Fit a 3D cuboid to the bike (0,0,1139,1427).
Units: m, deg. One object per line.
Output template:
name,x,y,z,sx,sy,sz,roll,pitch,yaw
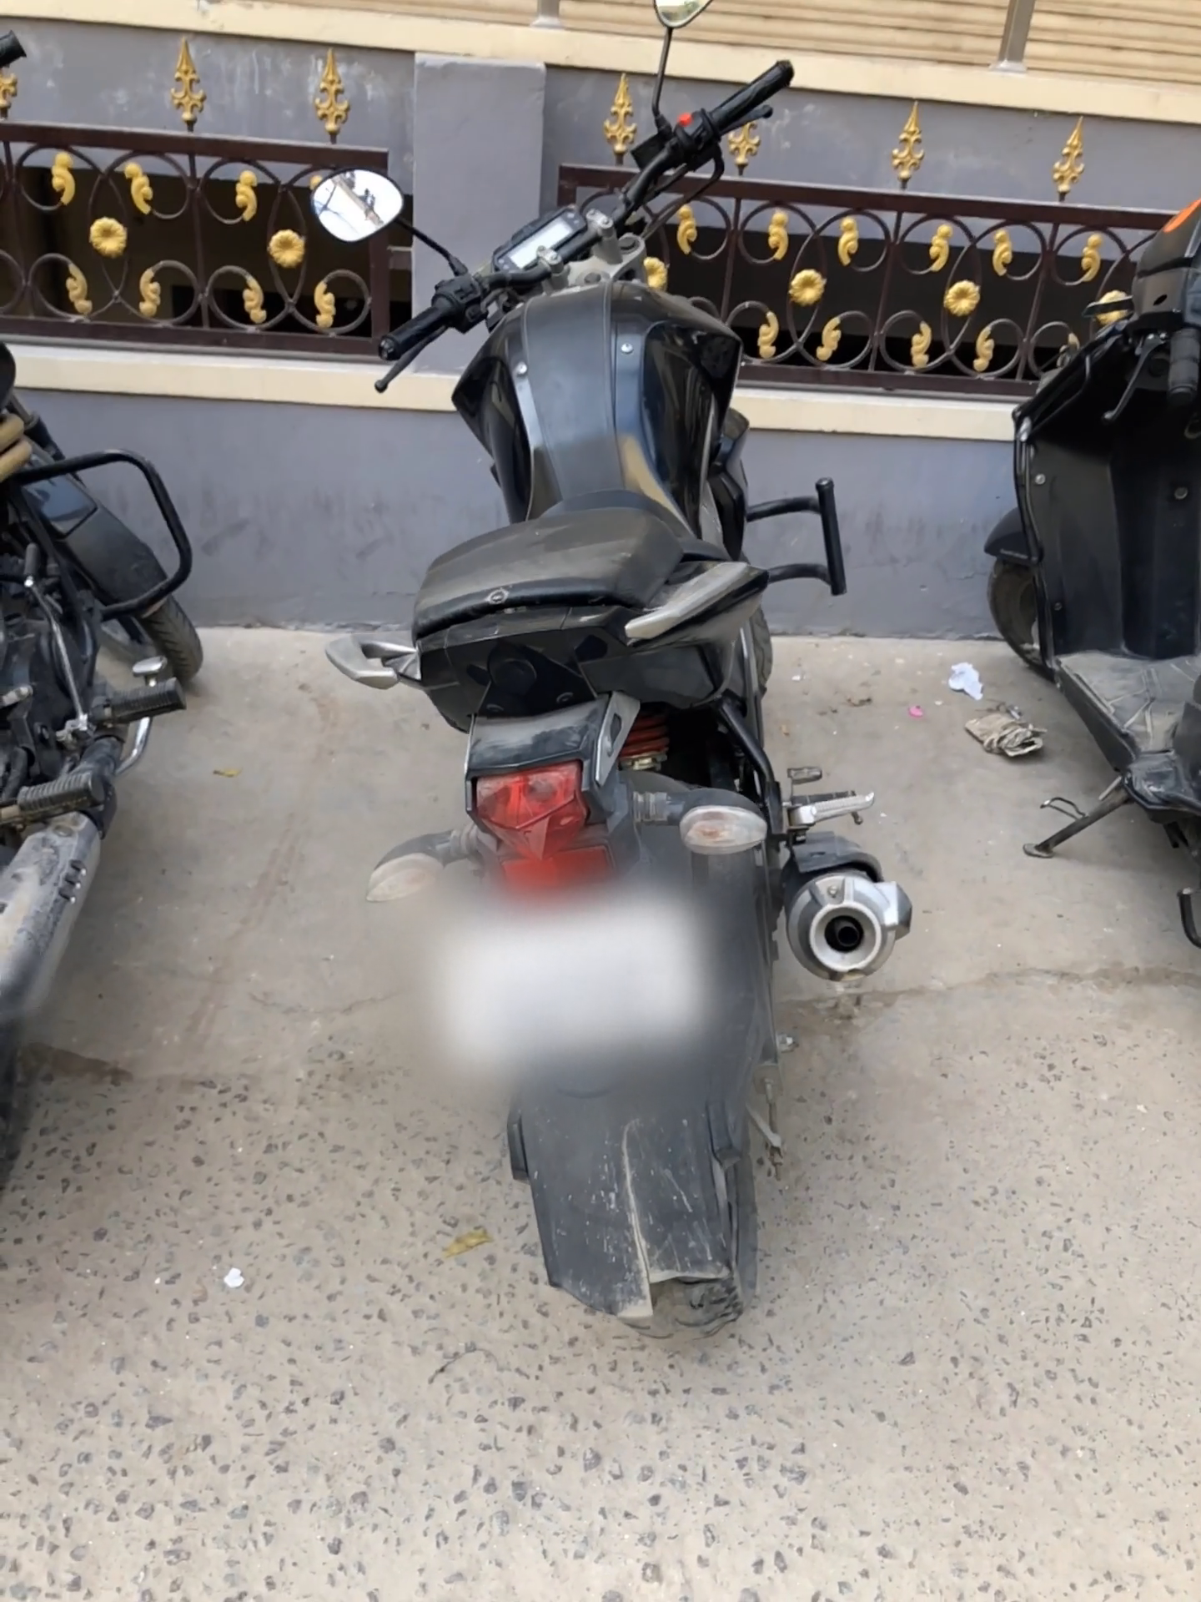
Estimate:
bike,-0.141,-0.369,1.816,0.692,1.197,1.767,2,32,-5
